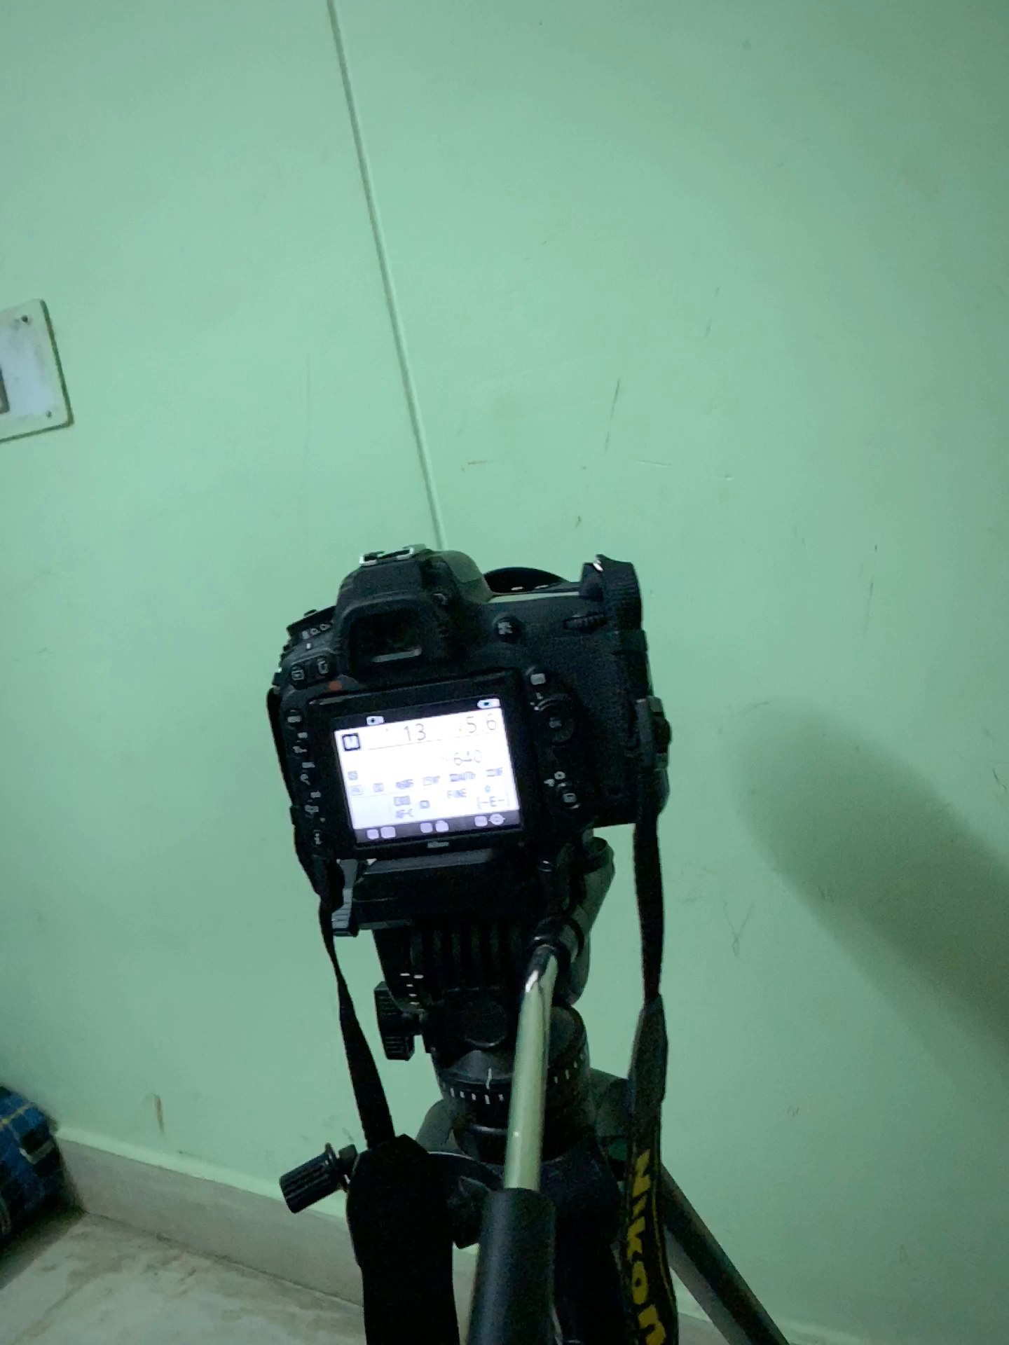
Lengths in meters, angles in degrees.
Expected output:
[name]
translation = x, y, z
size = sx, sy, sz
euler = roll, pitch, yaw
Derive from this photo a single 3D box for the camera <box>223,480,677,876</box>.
[camera]
translation = -0.006, -0.009, 0.459
size = 0.140, 0.117, 0.182
euler = -9, 11, 13
